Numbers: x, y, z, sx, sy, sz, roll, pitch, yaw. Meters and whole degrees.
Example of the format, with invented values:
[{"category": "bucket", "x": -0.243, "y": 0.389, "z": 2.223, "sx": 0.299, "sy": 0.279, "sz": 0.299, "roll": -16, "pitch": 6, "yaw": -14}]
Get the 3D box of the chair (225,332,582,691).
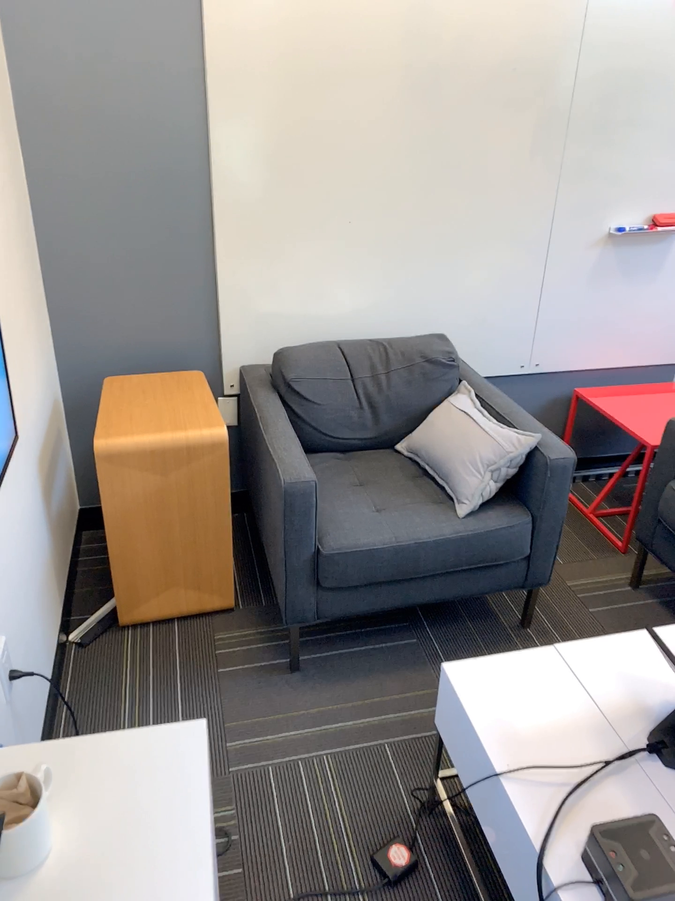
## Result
[{"category": "chair", "x": 0.117, "y": 0.114, "z": 2.304, "sx": 0.840, "sy": 0.716, "sz": 0.946, "roll": -5, "pitch": 28, "yaw": -15}]
